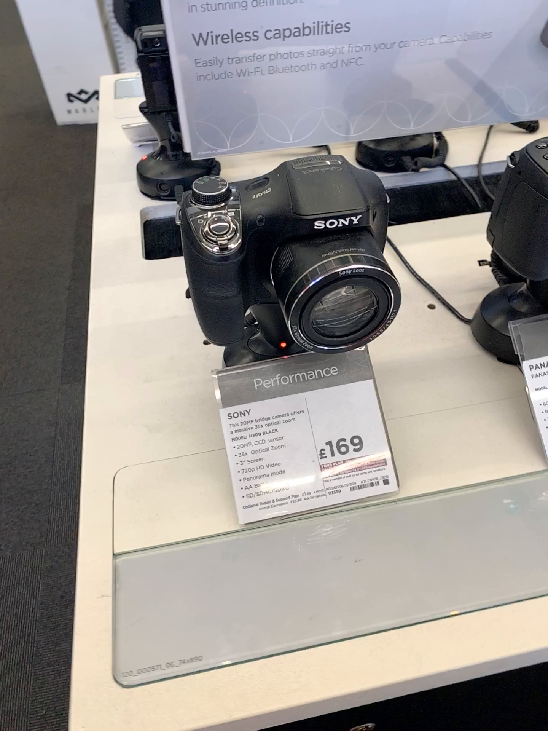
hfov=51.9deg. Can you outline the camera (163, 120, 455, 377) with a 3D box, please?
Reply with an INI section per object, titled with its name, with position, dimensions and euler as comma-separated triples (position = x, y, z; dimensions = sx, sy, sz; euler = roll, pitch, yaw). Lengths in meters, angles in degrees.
[camera]
position = 0.013, -0.067, 0.317
dimensions = 0.130, 0.089, 0.091
euler = -9, 47, -6
